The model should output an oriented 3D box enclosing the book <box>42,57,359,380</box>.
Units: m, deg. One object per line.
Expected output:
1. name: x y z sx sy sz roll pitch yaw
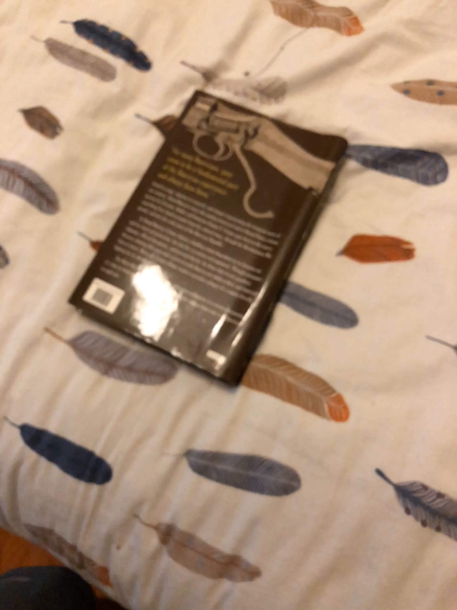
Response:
1. book: -0.022 -0.085 0.449 0.180 0.030 0.240 25 79 14
